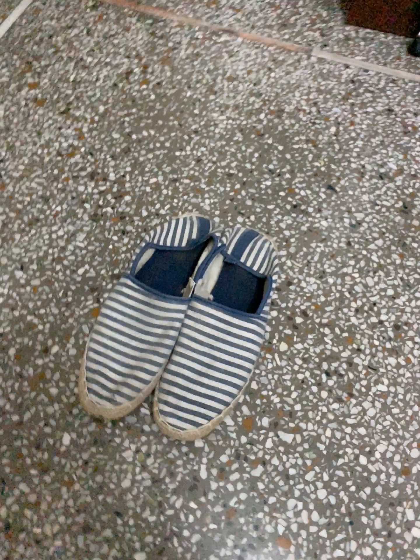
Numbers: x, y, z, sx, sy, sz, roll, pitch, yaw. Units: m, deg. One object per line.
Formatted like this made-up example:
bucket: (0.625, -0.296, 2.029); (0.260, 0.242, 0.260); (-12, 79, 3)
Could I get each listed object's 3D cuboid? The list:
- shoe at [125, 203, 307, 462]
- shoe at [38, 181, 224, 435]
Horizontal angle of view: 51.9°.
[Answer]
shoe: (0.017, 0.048, 0.511); (0.100, 0.050, 0.289); (23, 64, 8)
shoe: (-0.079, 0.020, 0.514); (0.100, 0.050, 0.289); (19, 64, 6)
